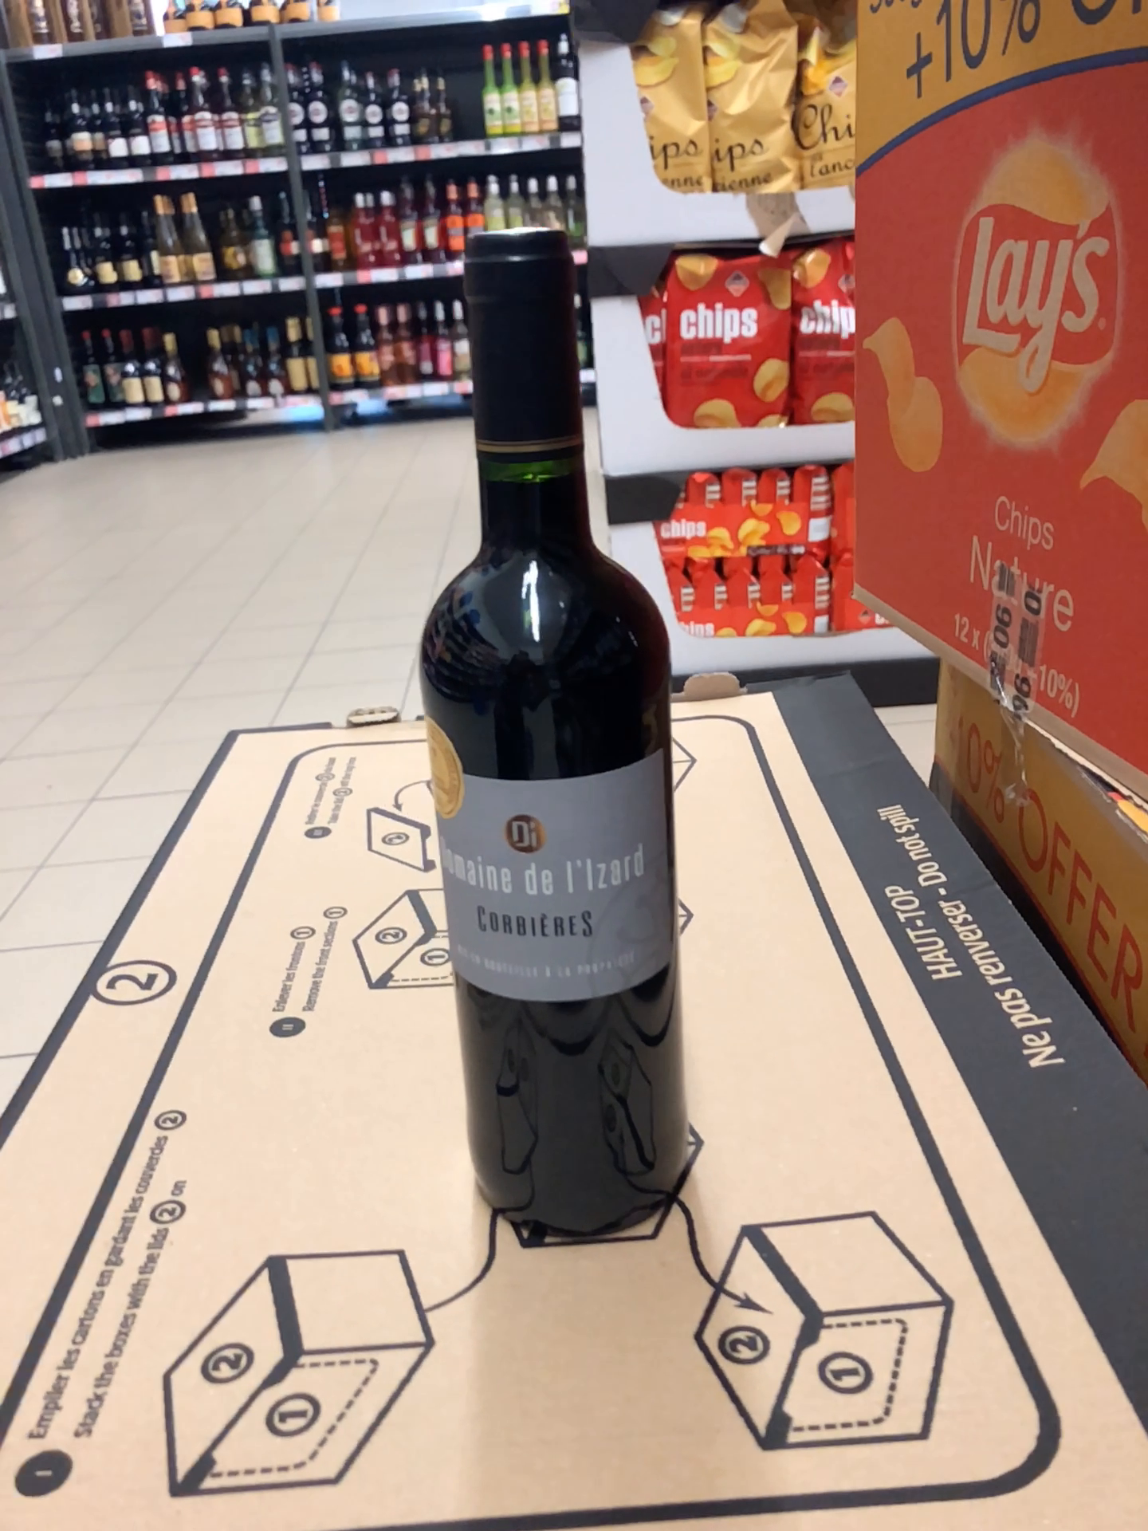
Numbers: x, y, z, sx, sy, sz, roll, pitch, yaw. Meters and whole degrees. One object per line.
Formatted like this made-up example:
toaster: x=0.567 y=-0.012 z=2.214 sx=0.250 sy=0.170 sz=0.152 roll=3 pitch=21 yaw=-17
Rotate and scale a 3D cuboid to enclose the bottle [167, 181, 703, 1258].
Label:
bottle: x=-0.023 y=-0.008 z=0.359 sx=0.090 sy=0.279 sz=0.091 roll=-4 pitch=22 yaw=2
